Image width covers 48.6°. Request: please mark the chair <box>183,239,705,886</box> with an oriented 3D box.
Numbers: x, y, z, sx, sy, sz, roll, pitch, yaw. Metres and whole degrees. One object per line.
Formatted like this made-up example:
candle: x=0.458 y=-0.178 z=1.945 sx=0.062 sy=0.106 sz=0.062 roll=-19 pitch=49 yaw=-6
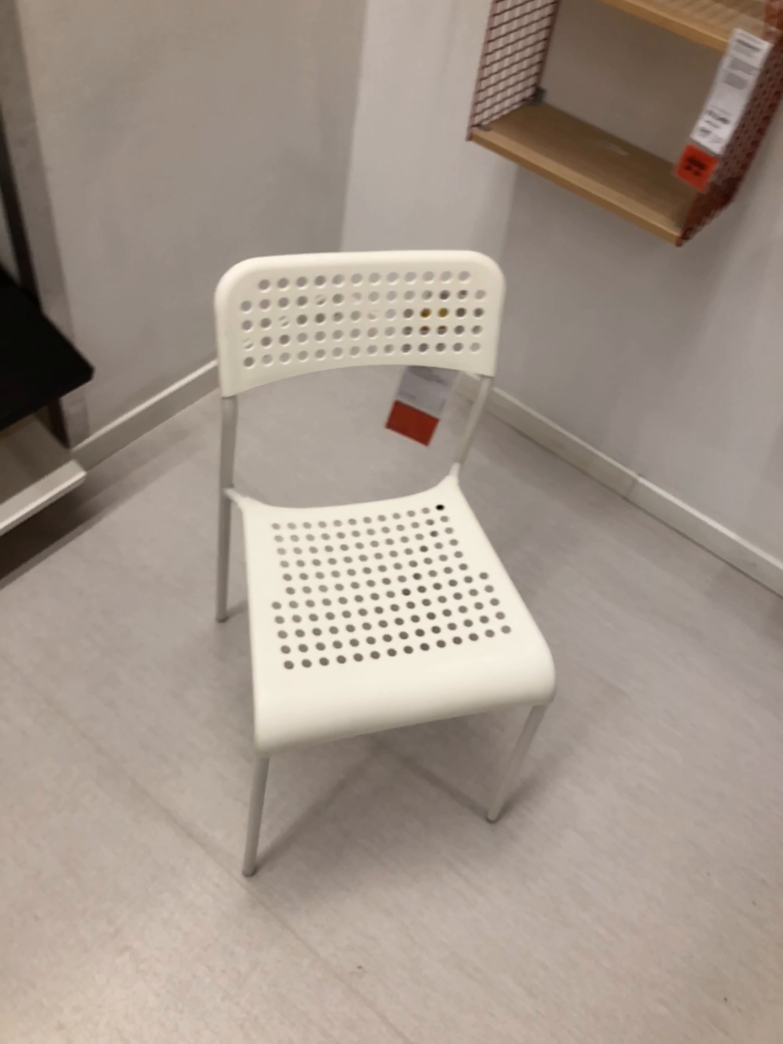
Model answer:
chair: x=-0.023 y=0.087 z=1.156 sx=0.420 sy=0.736 sz=0.473 roll=-6 pitch=52 yaw=-15
